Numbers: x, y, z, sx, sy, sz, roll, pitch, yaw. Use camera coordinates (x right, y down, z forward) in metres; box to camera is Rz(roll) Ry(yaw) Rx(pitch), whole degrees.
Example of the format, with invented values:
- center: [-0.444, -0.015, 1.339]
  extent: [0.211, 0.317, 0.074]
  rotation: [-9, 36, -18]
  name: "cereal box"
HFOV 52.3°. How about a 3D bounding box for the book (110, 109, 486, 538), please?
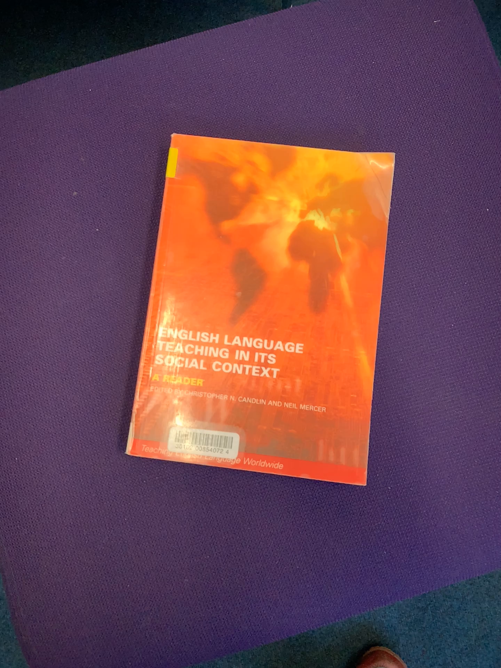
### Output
- center: [0.040, -0.016, 0.376]
  extent: [0.220, 0.050, 0.270]
  rotation: [9, 79, 4]
  name: "book"
